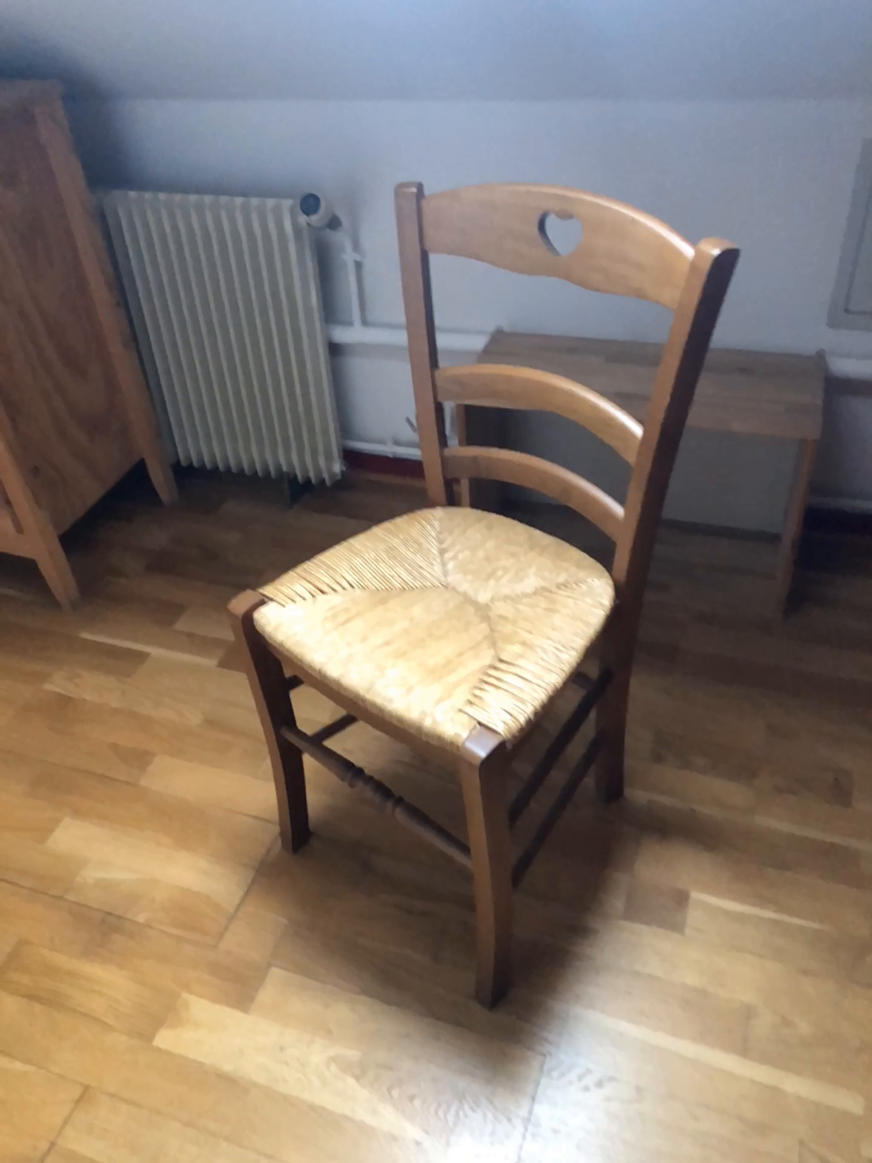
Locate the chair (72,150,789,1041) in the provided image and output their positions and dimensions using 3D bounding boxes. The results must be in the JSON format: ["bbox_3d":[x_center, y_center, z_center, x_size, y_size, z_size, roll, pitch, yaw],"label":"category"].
[{"bbox_3d":[0.018,0.014,1.077,0.458,0.792,0.436,26,47,33],"label":"chair"}]
